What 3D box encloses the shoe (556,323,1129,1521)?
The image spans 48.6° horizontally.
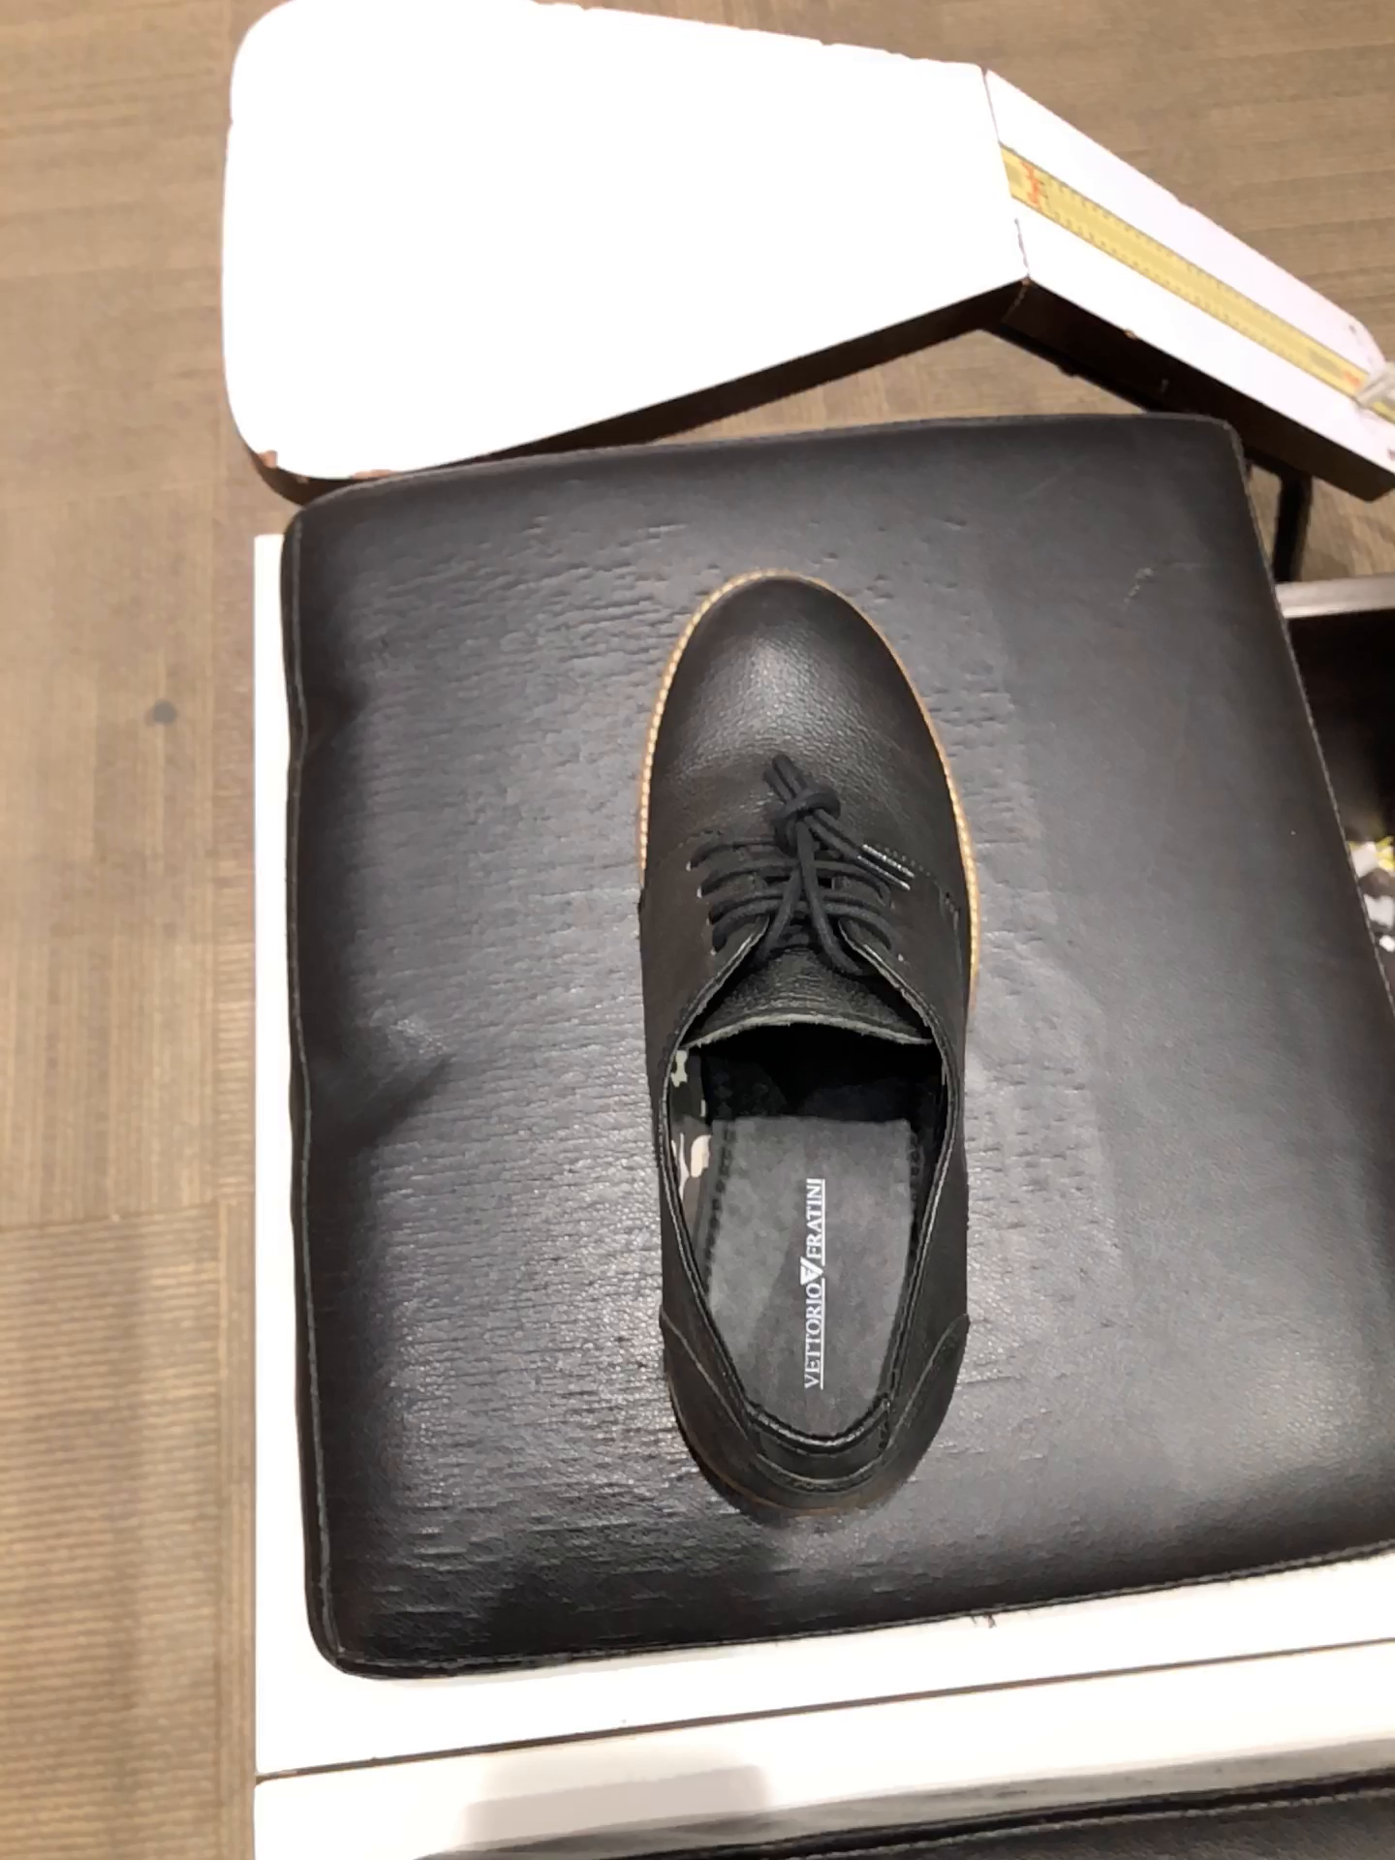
[{"bbox_3d":[0.025,-0.004,0.403,0.110,0.100,0.291,-3,69,1],"label":"shoe"}]
